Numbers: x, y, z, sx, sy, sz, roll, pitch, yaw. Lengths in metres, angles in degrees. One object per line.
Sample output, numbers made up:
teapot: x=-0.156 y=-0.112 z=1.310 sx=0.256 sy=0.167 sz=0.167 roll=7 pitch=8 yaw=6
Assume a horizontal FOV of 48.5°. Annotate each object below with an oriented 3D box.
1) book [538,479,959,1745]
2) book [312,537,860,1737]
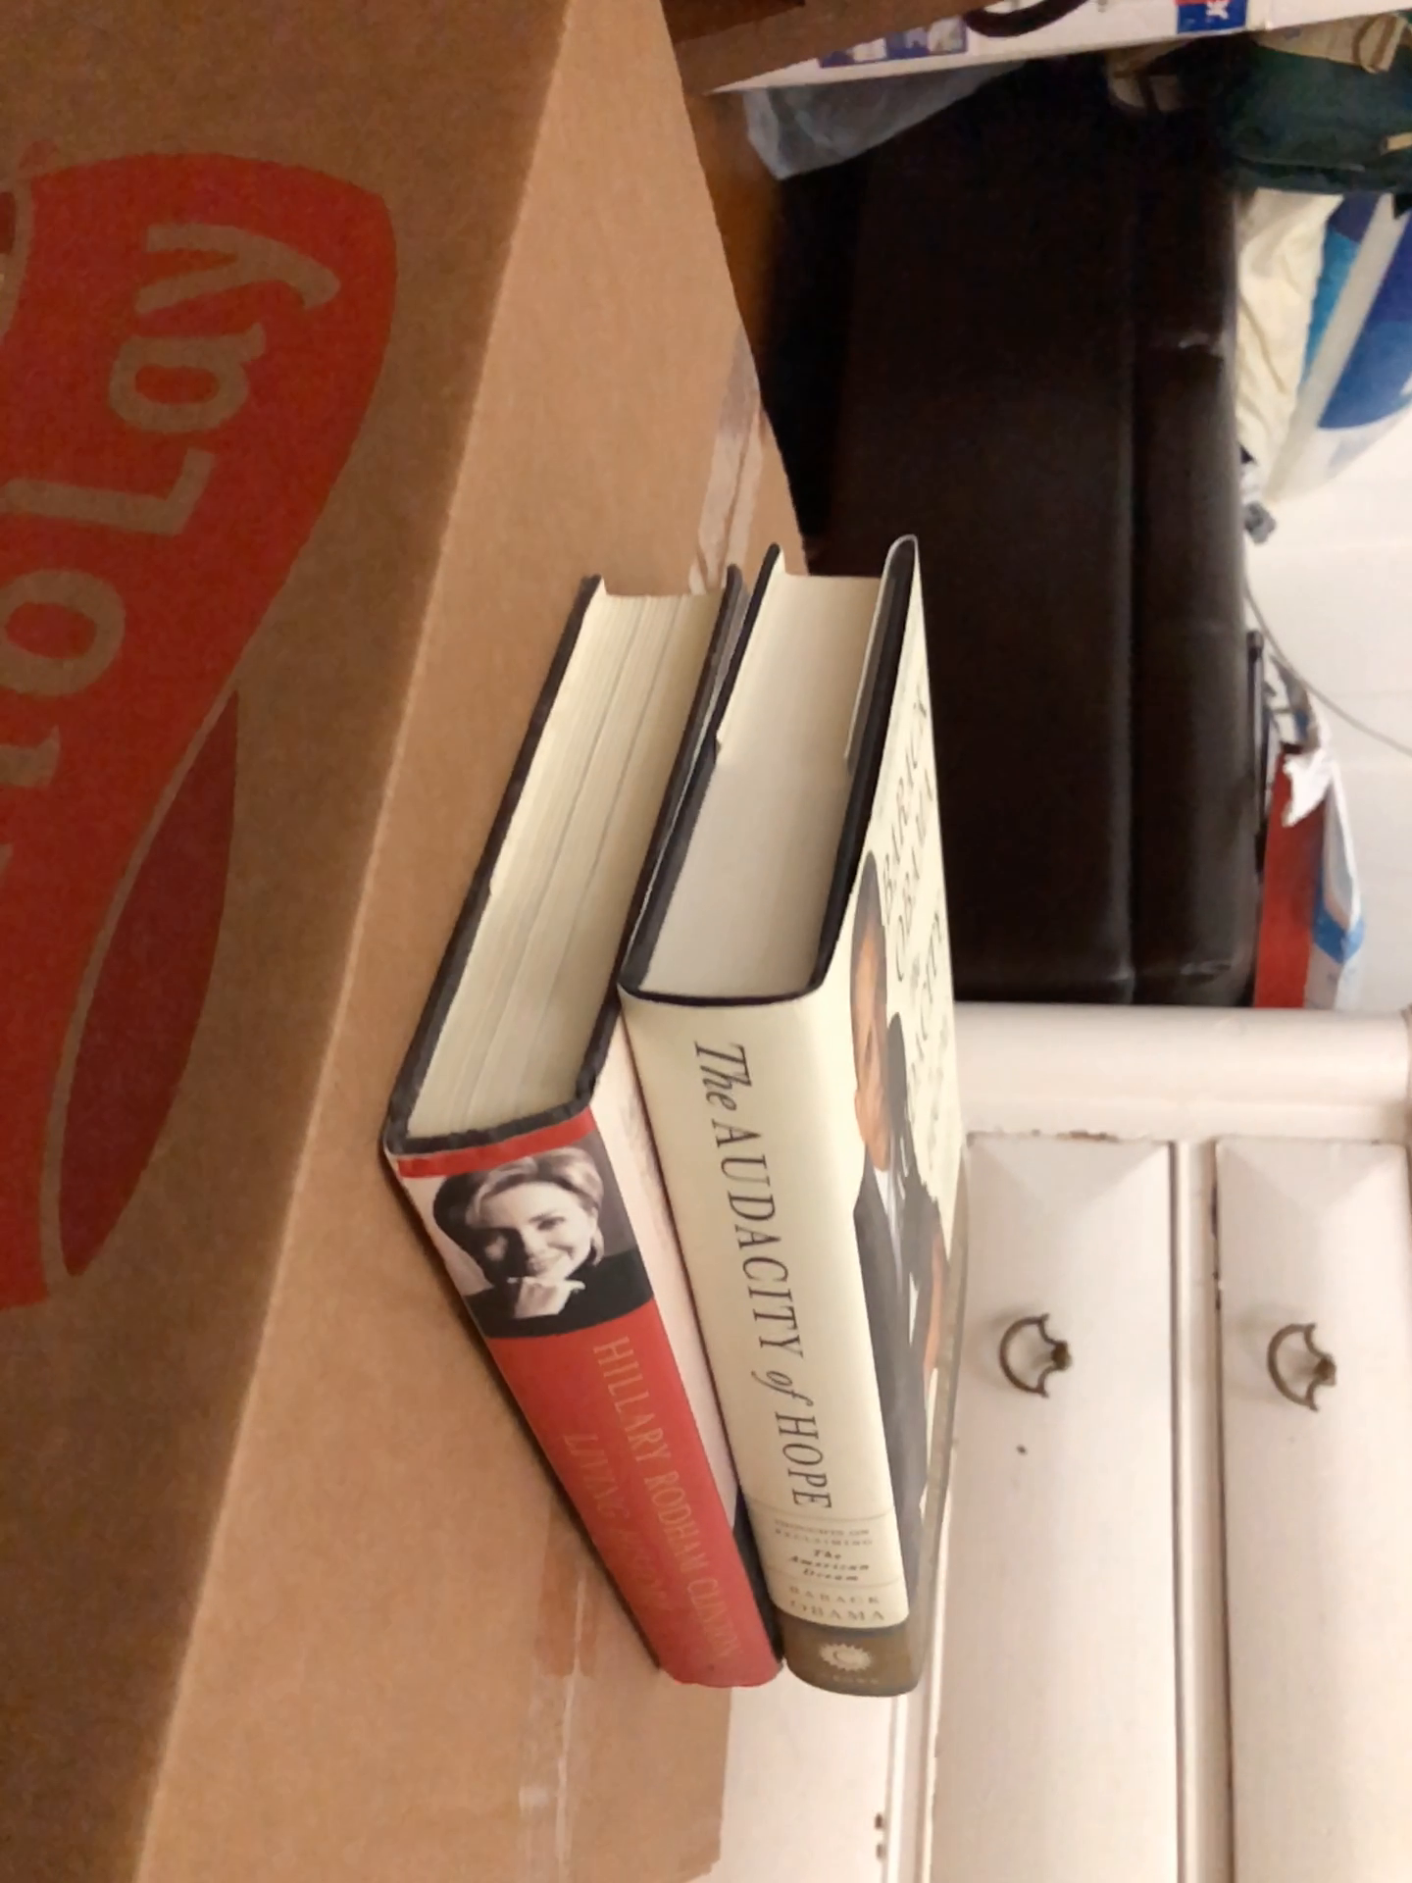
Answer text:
book: x=0.030 y=0.046 z=0.390 sx=0.191 sy=0.040 sz=0.250 roll=-74 pitch=159 yaw=-47
book: x=-0.004 y=0.059 z=0.378 sx=0.250 sy=0.040 sz=0.170 roll=76 pitch=20 yaw=-45
